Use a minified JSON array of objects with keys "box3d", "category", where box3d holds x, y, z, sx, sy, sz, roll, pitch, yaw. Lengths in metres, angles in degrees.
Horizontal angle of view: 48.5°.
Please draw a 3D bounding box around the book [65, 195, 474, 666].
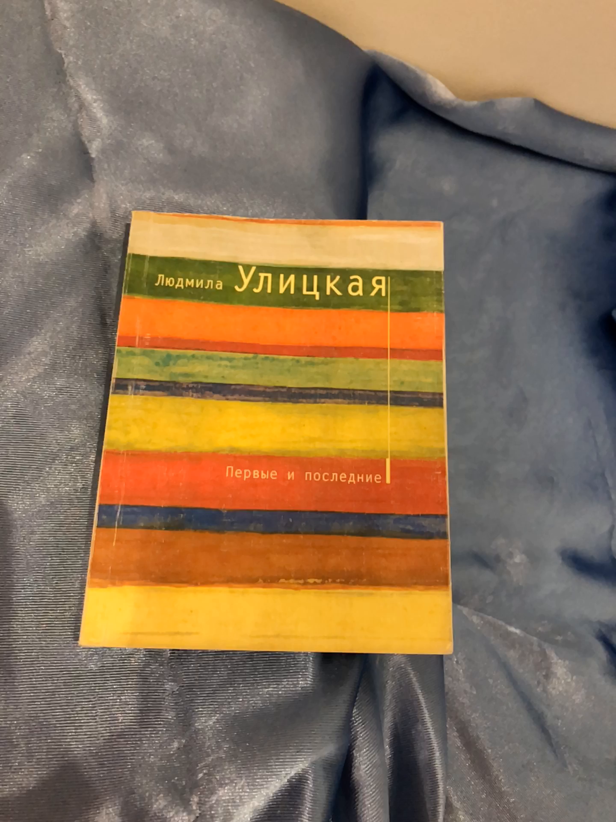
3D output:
[{"box3d":[-0.009,0.002,0.253,0.129,0.026,0.167,2,73,0],"category":"book"}]
